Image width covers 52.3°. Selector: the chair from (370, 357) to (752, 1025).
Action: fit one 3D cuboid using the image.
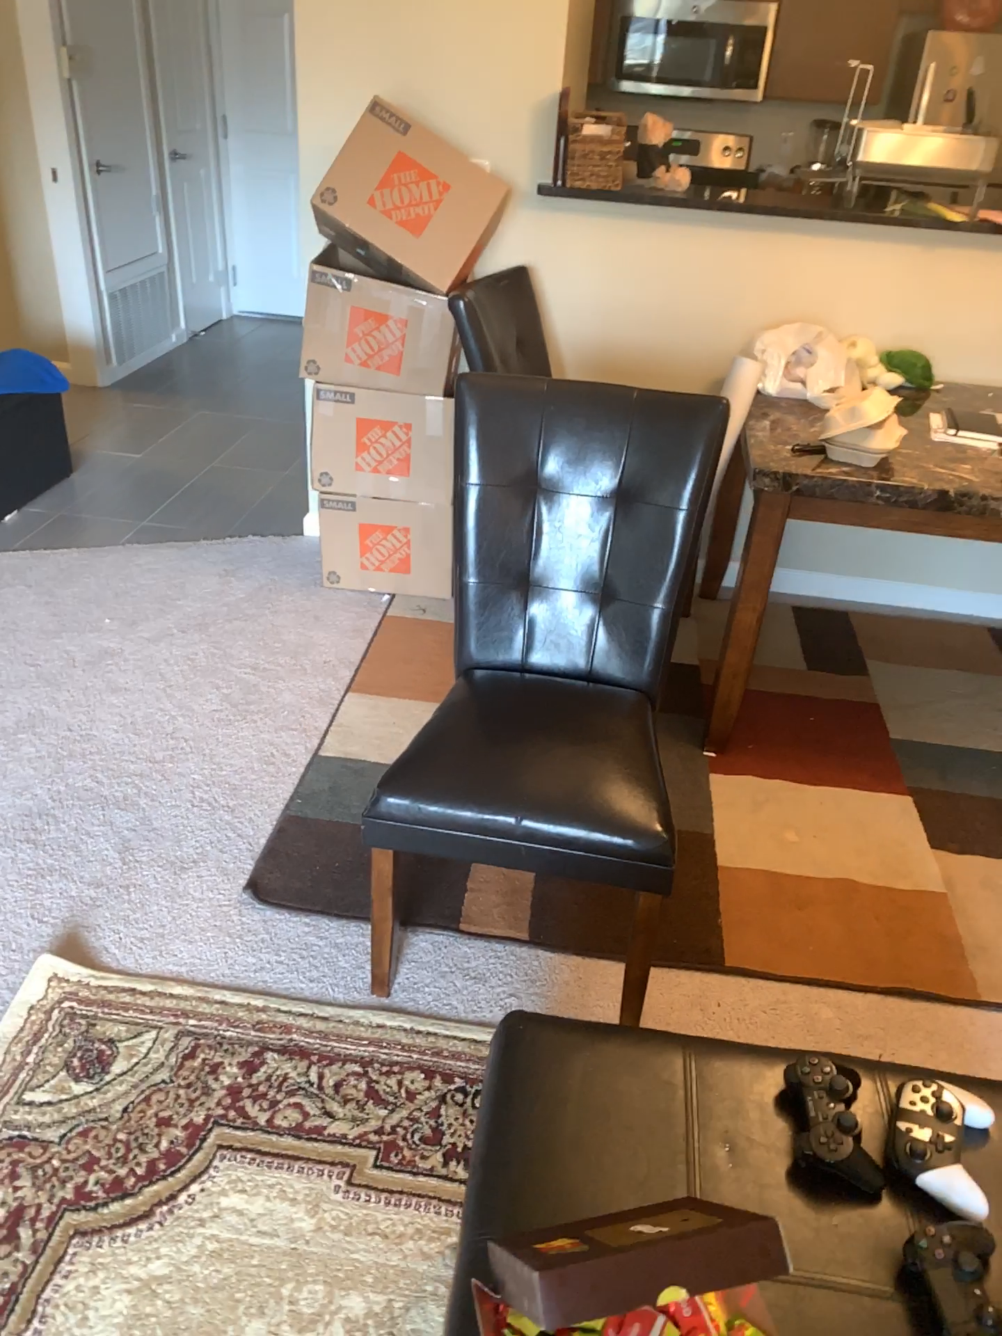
[{"bbox_3d":[0.094,0.017,1.806,0.490,0.915,0.654,8,31,6],"label":"chair"}]
